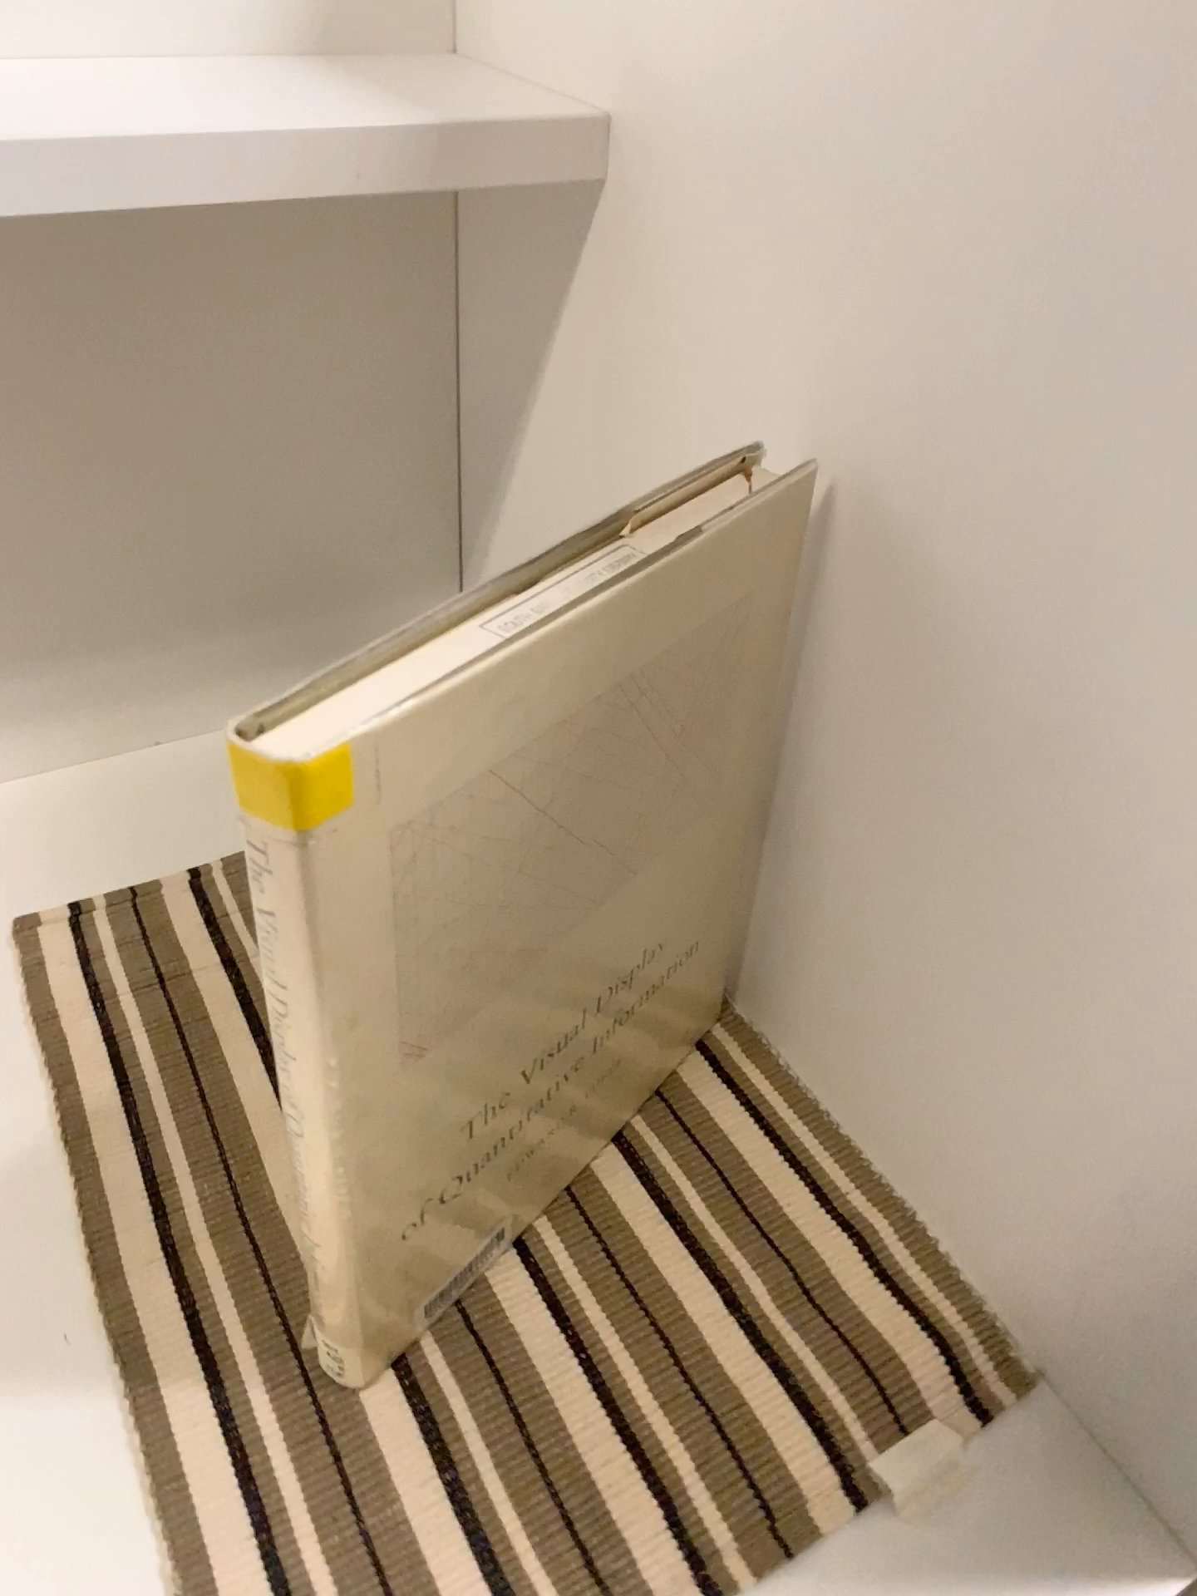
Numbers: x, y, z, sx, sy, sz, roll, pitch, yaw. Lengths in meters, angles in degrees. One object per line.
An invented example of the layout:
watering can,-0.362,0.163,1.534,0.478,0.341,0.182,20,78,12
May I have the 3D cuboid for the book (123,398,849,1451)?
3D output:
book,-0.017,0.042,0.421,0.040,0.287,0.252,27,43,27
